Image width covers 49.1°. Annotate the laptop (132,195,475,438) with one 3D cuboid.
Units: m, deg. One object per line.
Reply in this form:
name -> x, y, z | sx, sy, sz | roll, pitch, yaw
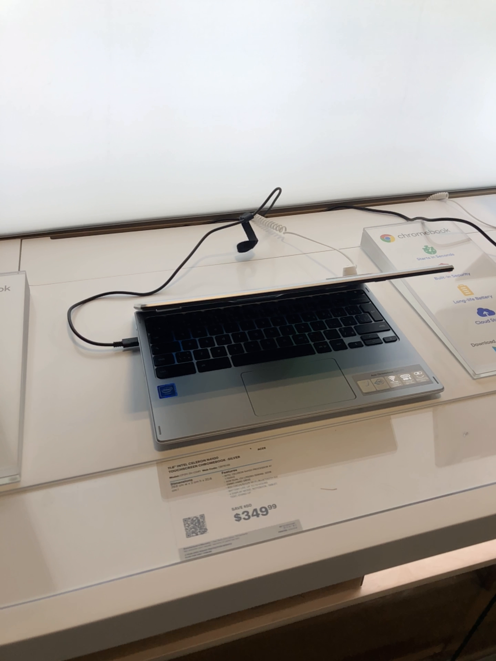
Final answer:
laptop -> 0.038, -0.030, 0.554 | 0.279, 0.123, 0.192 | -8, 39, -14
